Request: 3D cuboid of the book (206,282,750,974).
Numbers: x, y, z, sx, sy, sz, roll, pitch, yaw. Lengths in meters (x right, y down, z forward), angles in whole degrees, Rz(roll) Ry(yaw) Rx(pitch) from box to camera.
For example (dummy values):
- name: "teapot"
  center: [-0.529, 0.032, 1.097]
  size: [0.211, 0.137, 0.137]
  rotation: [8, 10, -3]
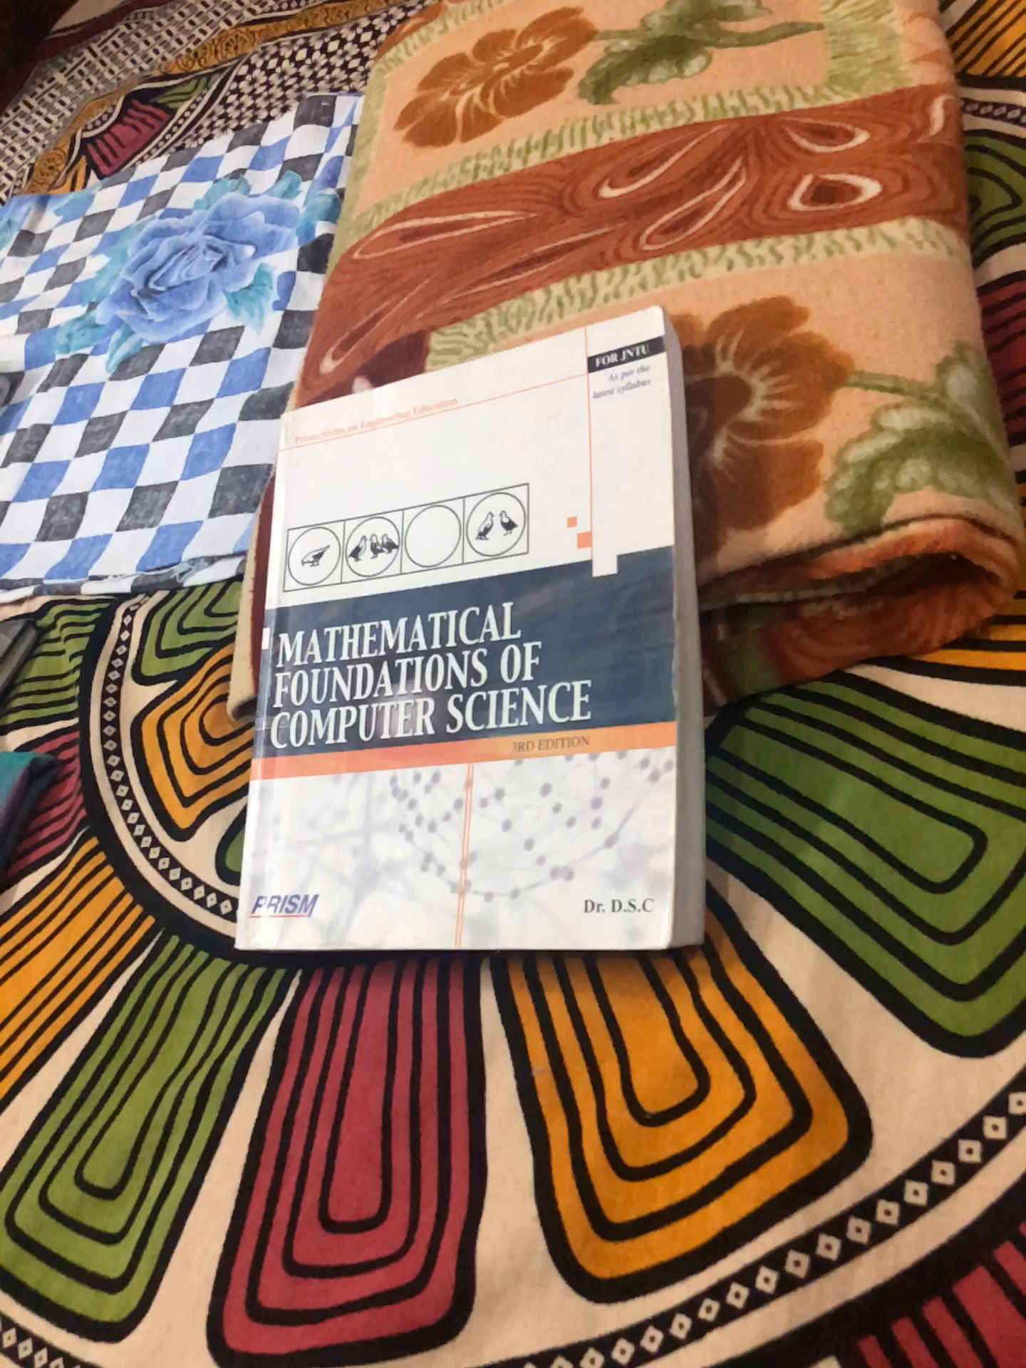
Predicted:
- name: "book"
  center: [-0.012, -0.013, 0.443]
  size: [0.190, 0.060, 0.240]
  rotation: [-8, 68, 28]
